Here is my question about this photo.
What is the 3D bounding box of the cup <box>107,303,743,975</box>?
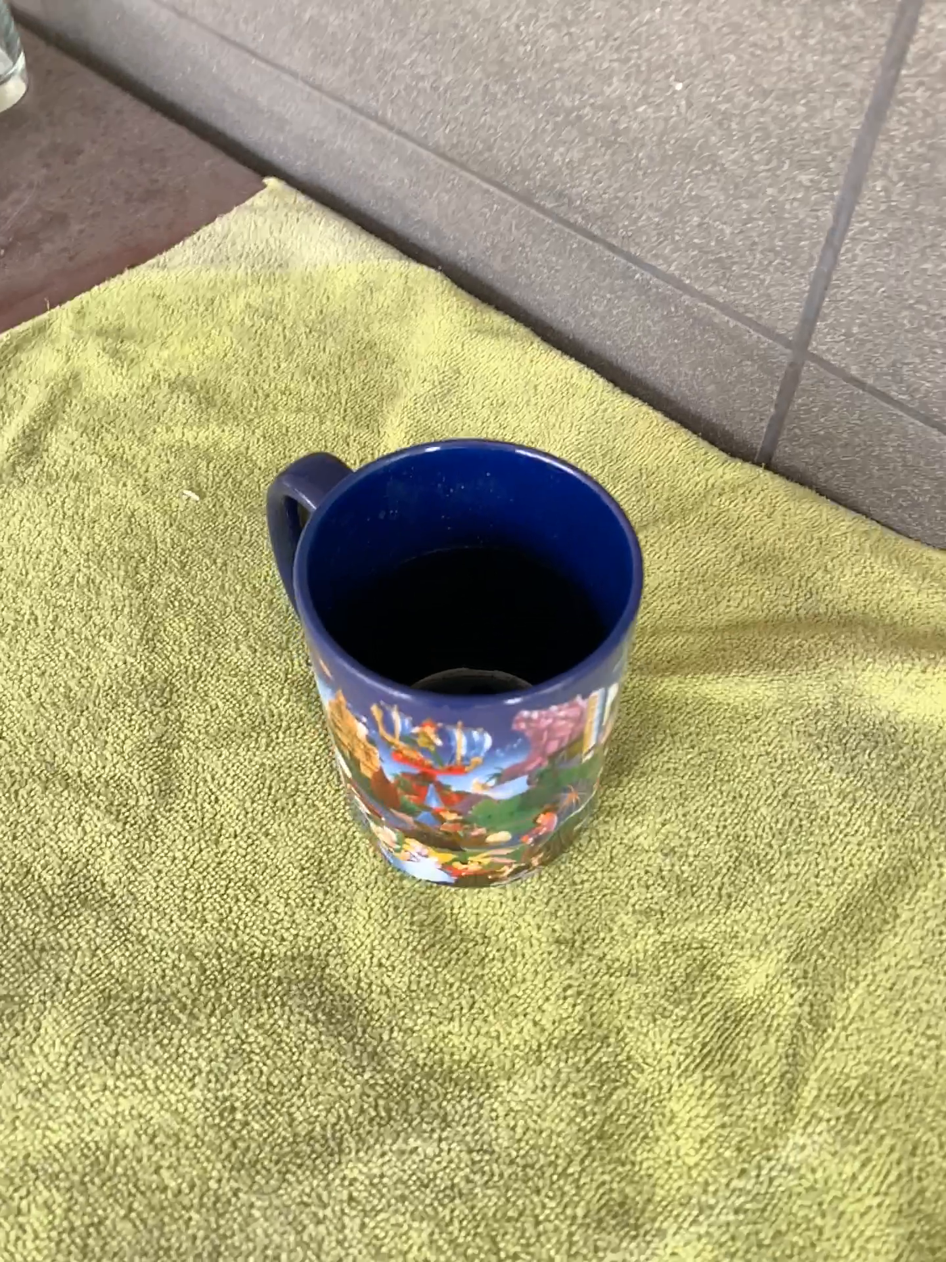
[{"bbox_3d":[-0.015,0.001,0.277,0.090,0.110,0.130,-35,61,-23],"label":"cup"}]
